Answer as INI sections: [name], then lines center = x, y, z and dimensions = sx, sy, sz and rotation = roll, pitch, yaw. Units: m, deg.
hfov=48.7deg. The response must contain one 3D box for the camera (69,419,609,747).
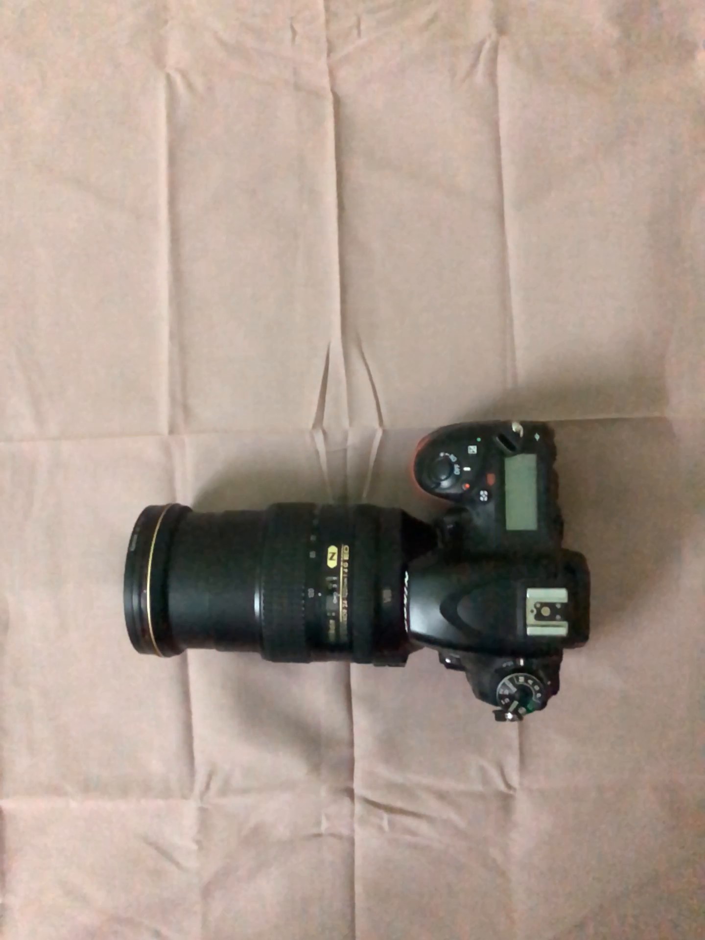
[camera]
center = -0.005, 0.049, 0.389
dimensions = 0.231, 0.110, 0.139
rotation = -1, 90, 3
